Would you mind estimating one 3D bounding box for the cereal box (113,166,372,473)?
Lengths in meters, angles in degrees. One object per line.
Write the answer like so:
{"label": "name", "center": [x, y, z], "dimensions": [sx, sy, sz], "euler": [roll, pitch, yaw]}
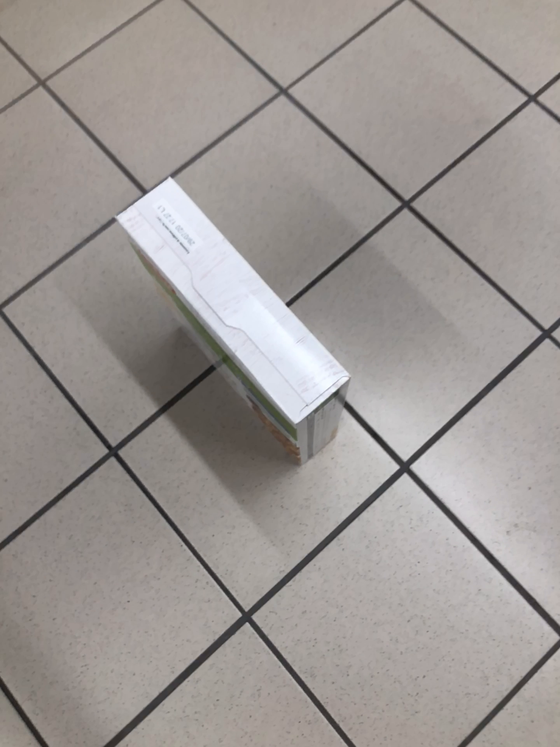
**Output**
{"label": "cereal box", "center": [-0.024, -0.024, 0.512], "dimensions": [0.060, 0.230, 0.190], "euler": [-40, 76, -9]}
